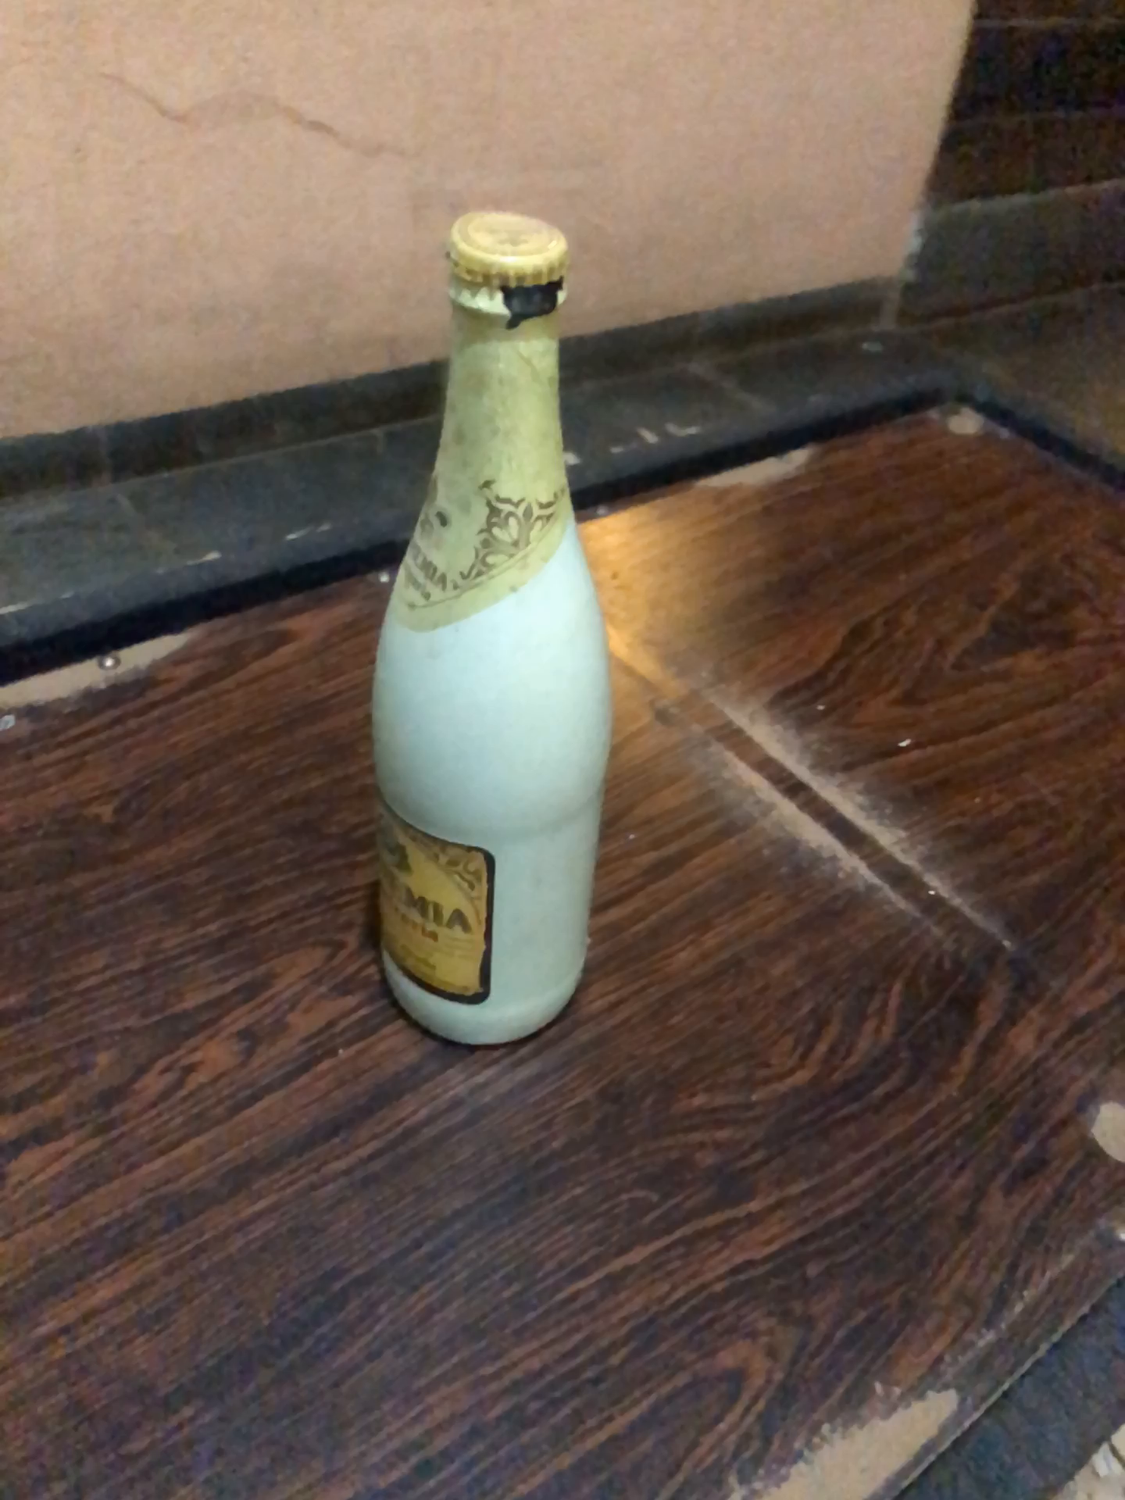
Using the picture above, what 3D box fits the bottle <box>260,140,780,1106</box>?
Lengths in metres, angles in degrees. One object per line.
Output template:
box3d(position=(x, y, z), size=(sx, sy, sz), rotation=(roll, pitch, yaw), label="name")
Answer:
box3d(position=(-0.023, -0.020, 0.341), size=(0.080, 0.248, 0.080), rotation=(5, 41, -4), label="bottle")
